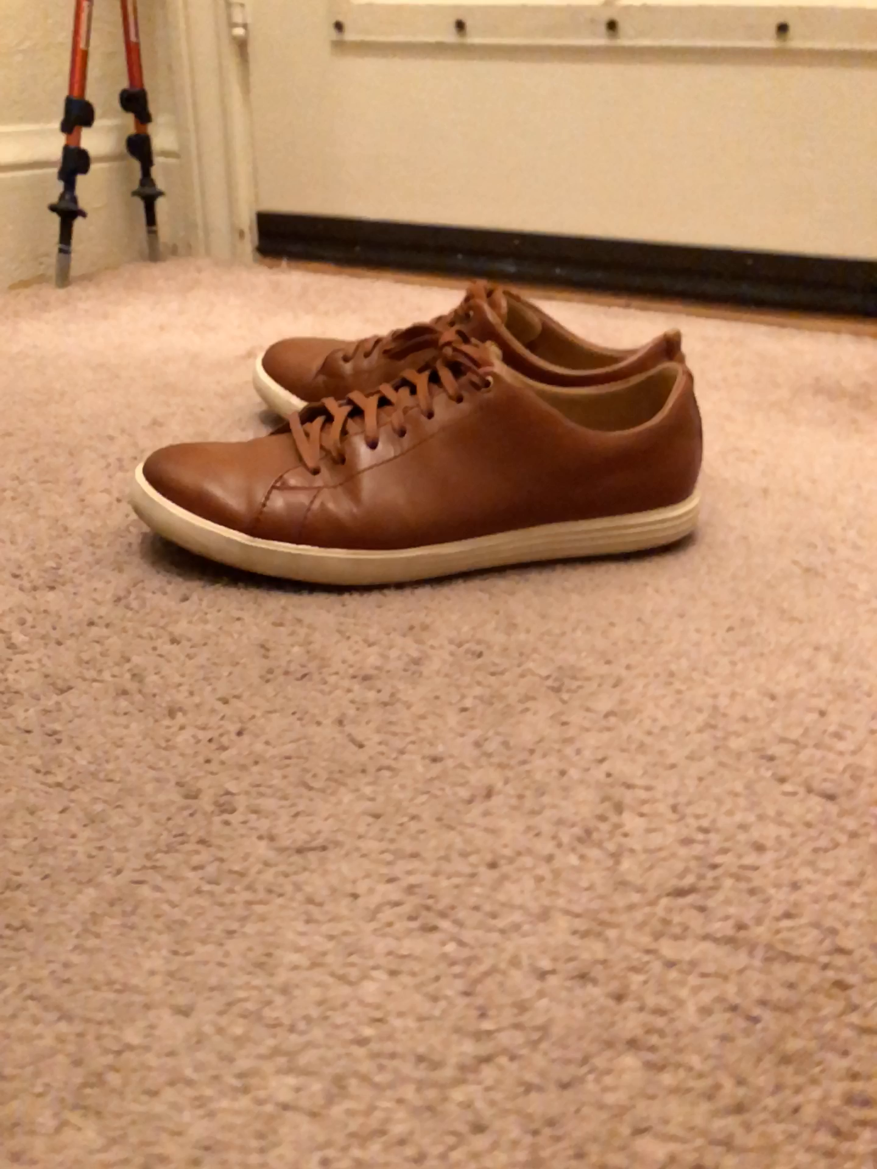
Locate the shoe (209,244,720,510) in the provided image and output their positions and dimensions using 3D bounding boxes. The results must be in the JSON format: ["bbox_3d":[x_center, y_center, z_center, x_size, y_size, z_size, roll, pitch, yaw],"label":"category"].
[{"bbox_3d":[0.016,-0.139,0.609,0.285,0.102,0.118,11,30,18],"label":"shoe"}]

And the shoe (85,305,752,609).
[{"bbox_3d":[-0.012,-0.072,0.484,0.285,0.100,0.118,-4,29,-10],"label":"shoe"}]
